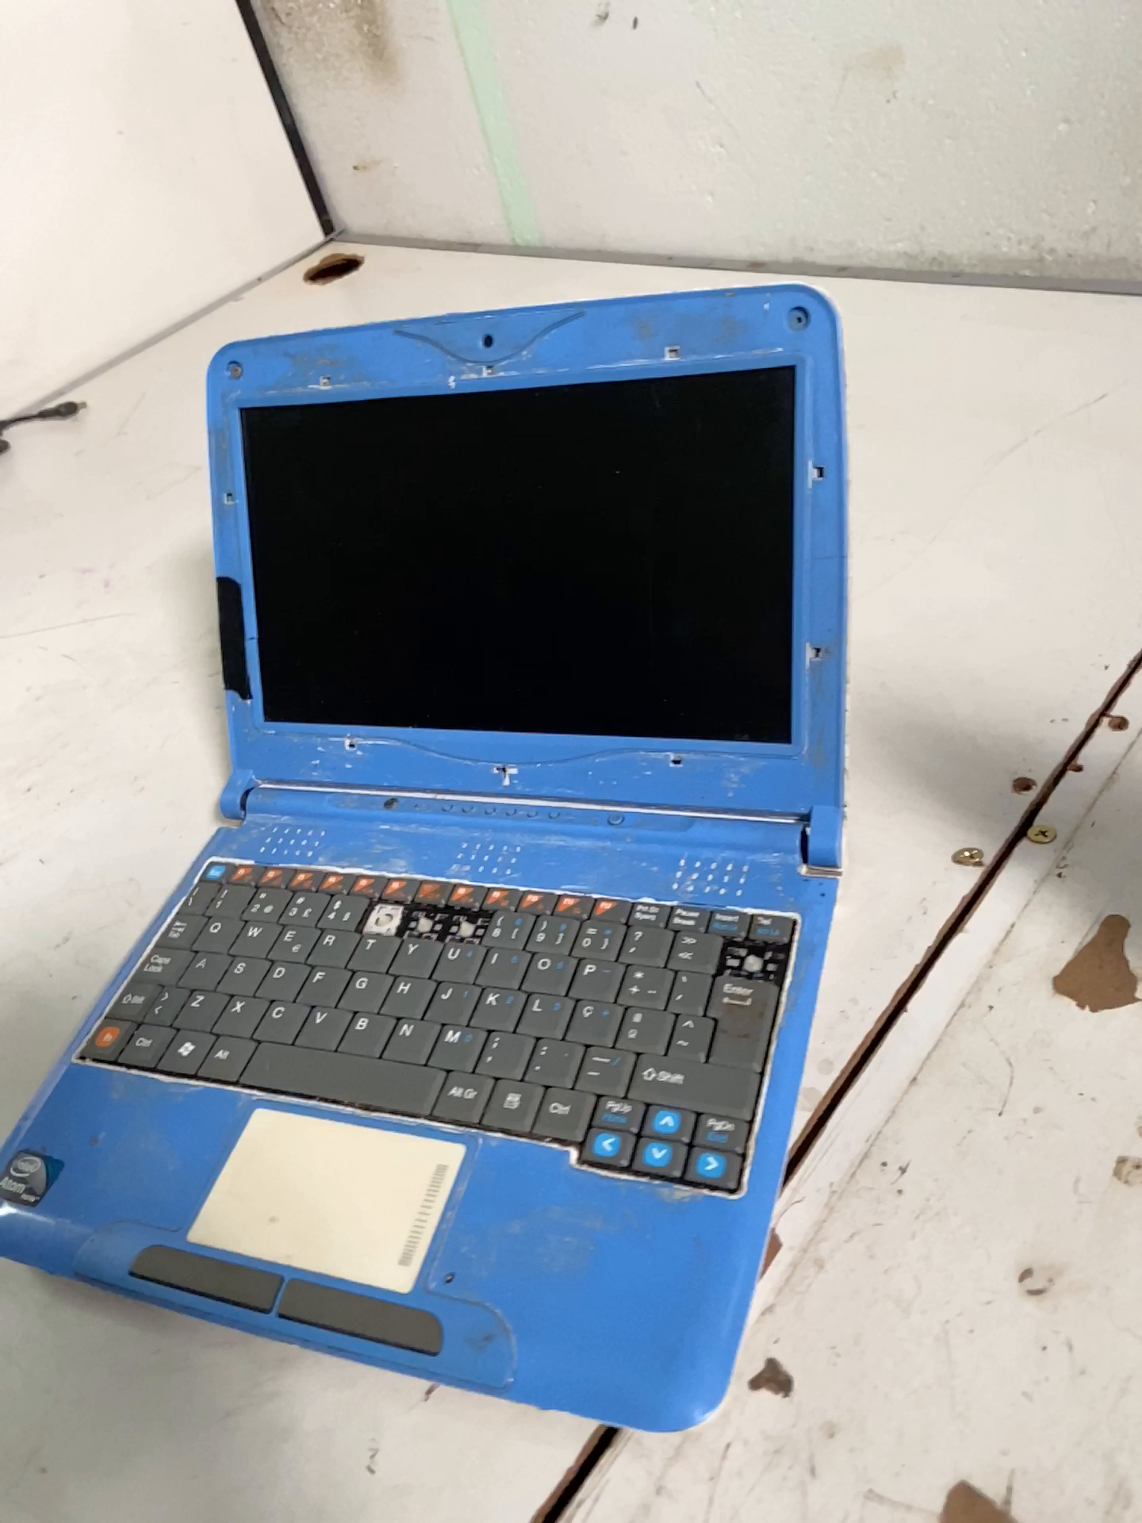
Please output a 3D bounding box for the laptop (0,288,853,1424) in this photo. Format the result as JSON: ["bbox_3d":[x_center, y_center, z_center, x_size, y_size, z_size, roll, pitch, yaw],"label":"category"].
[{"bbox_3d":[-0.056,-0.002,0.372,0.241,0.149,0.288,2,45,21],"label":"laptop"}]
